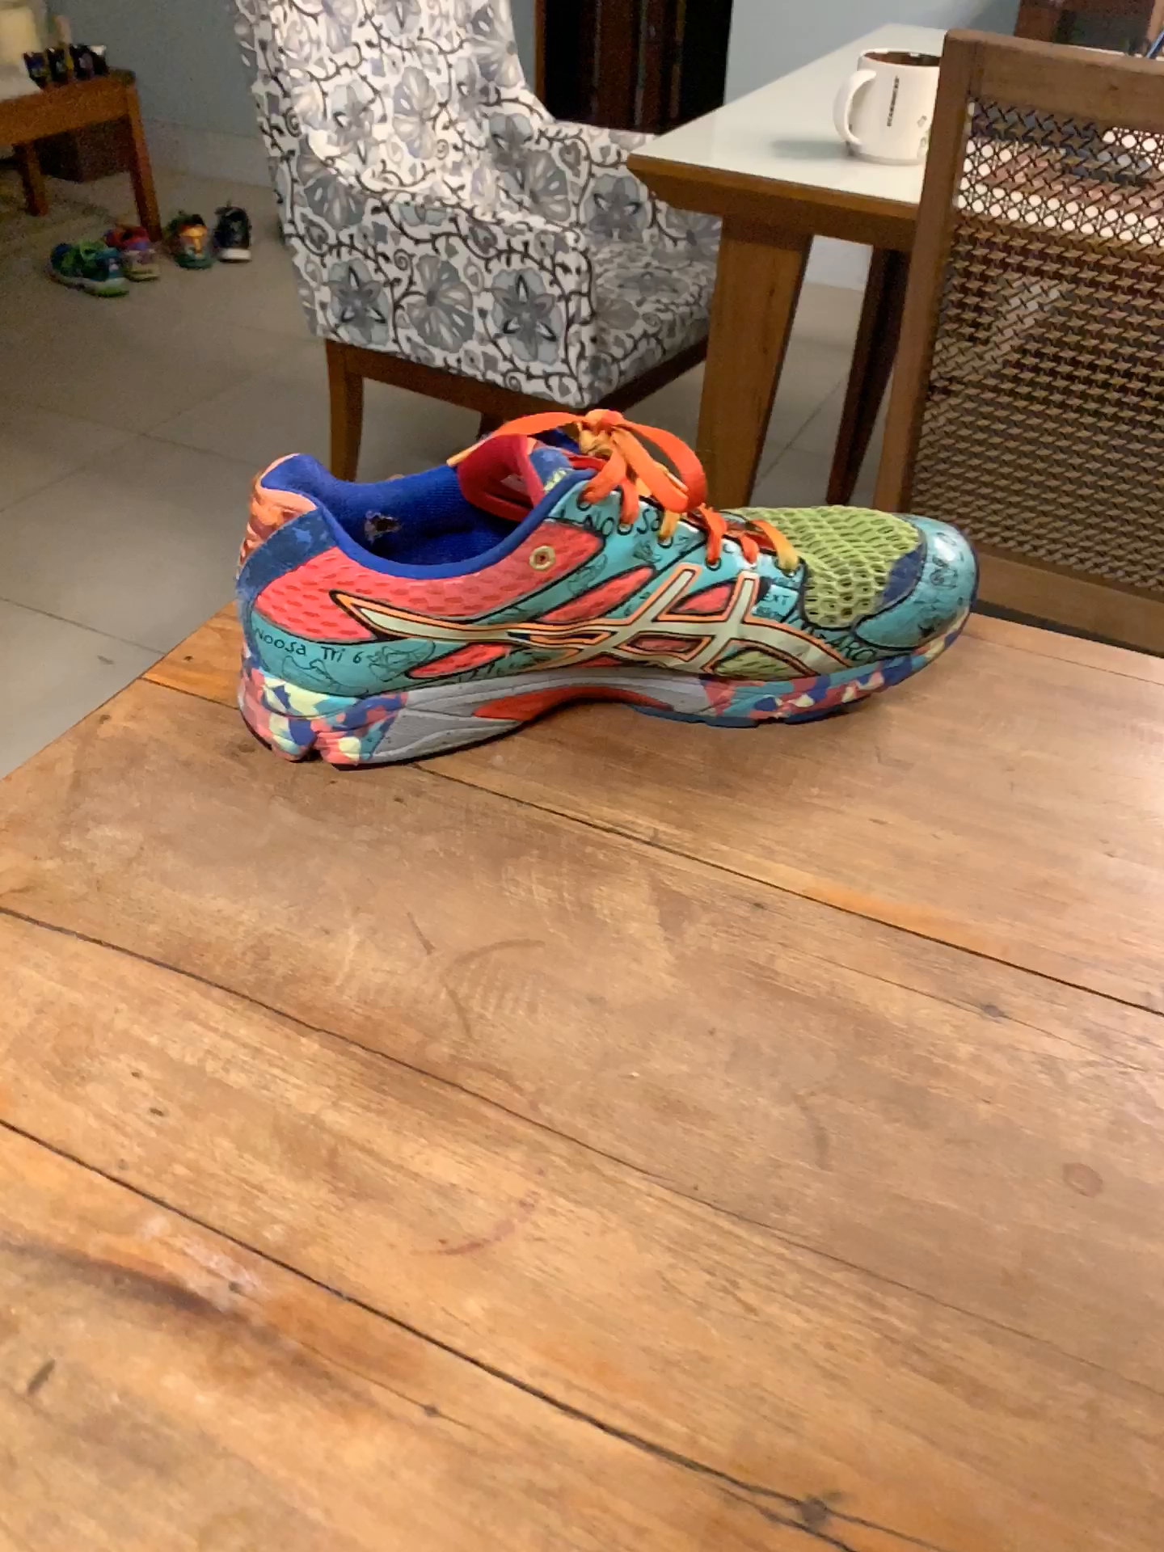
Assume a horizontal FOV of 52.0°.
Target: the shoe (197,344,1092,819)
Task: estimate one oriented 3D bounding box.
[{"bbox_3d":[0.018,-0.084,0.477,0.310,0.118,0.111,-8,41,-11],"label":"shoe"}]
